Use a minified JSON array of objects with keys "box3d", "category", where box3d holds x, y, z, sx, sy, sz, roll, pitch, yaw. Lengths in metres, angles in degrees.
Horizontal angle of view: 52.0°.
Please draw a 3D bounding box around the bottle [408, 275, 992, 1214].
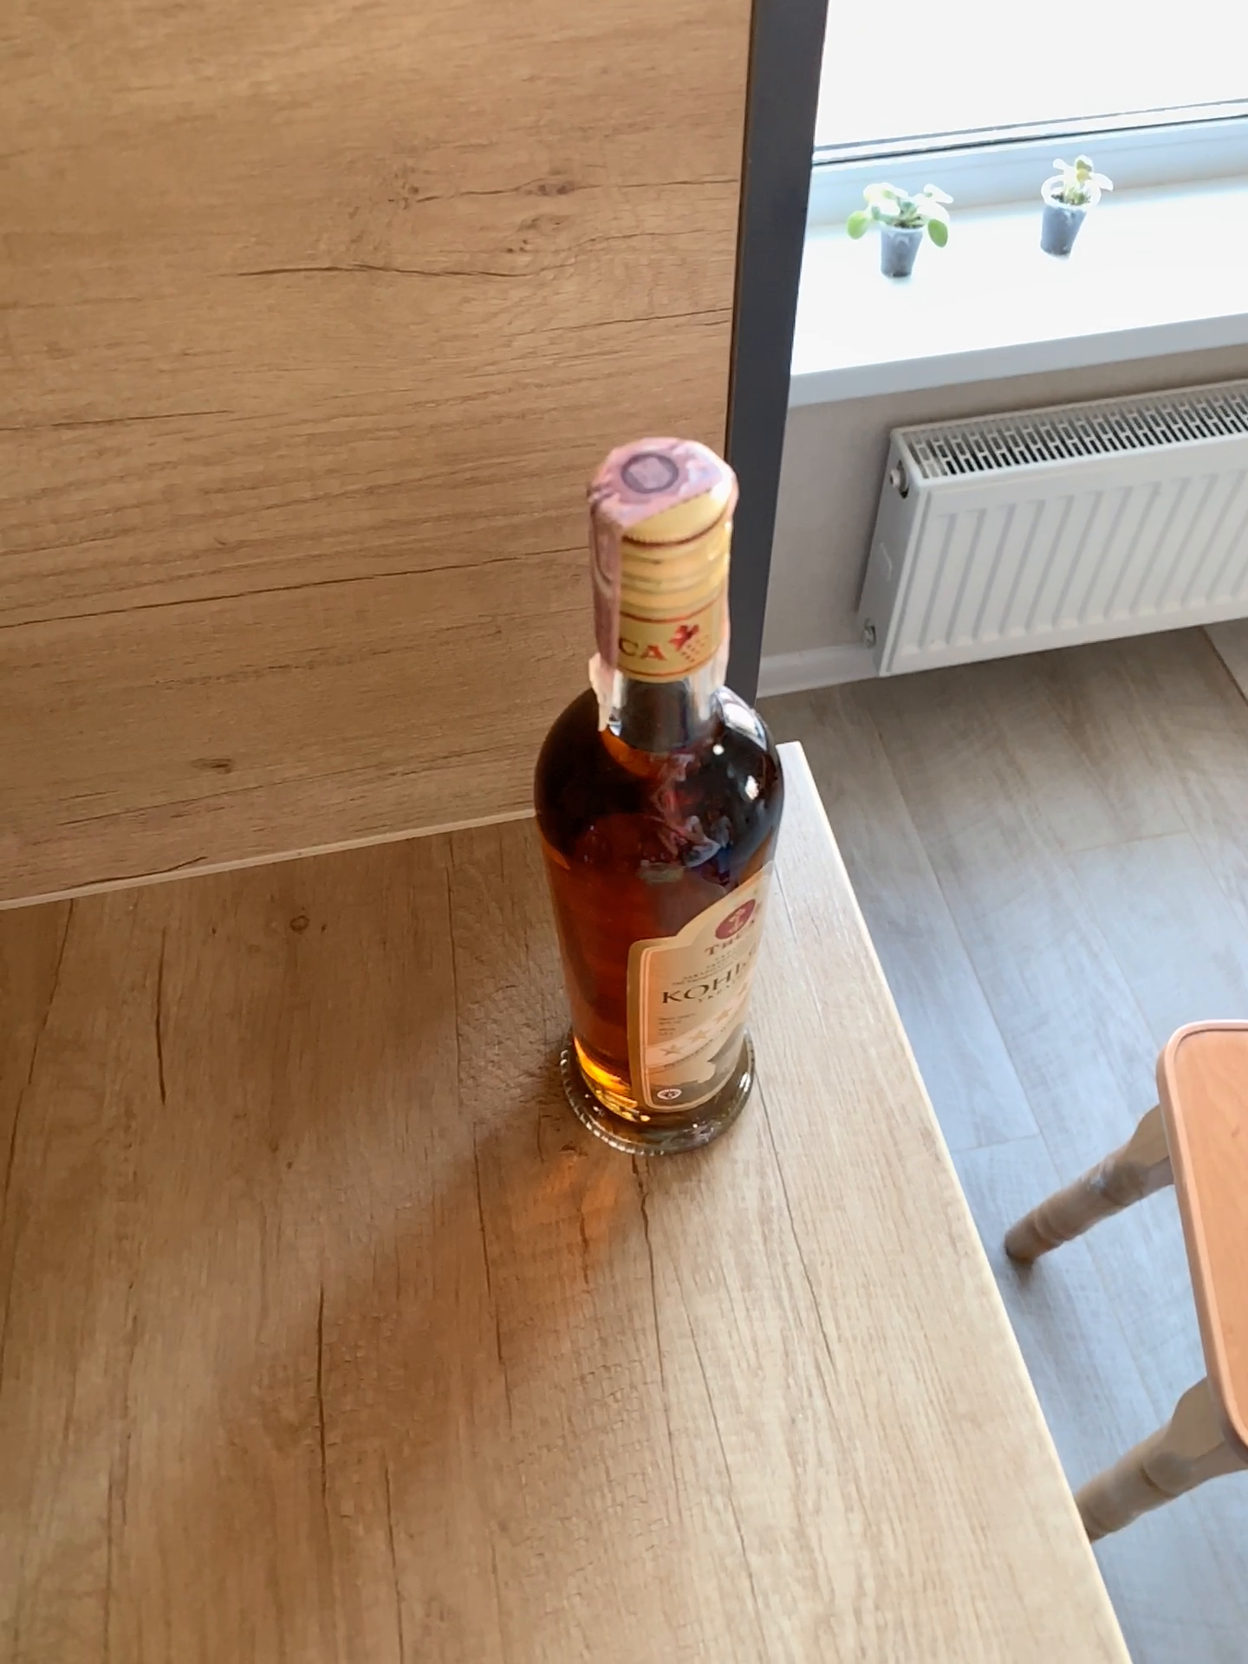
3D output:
[{"box3d":[0.015,0.008,0.348,0.080,0.279,0.070,-34,62,-20],"category":"bottle"}]
